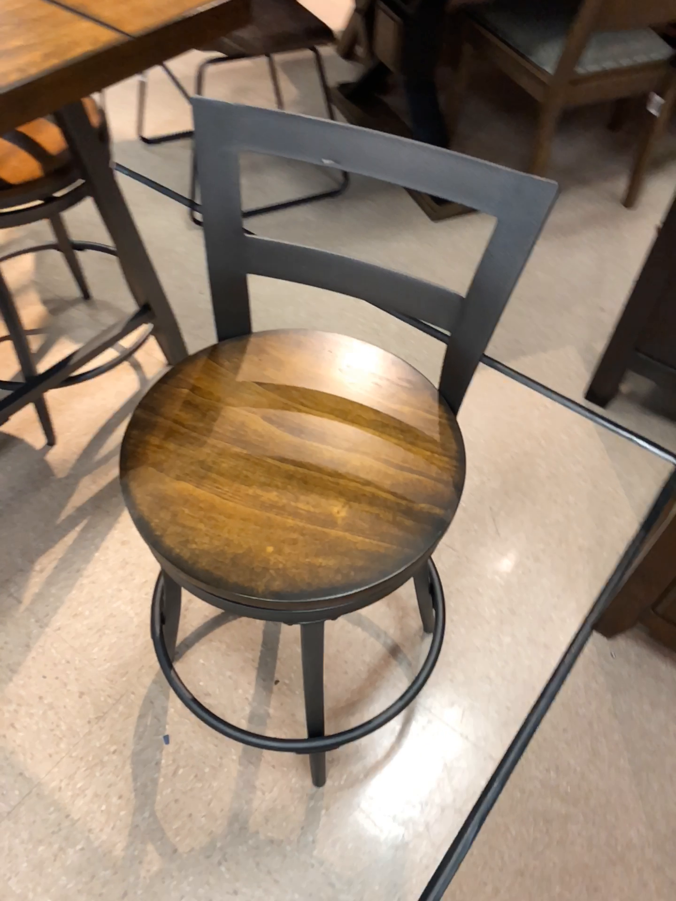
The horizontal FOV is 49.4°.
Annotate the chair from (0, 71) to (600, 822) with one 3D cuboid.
[{"bbox_3d":[-0.068,0.060,0.969,0.491,0.805,0.462,19,53,12],"label":"chair"}]
